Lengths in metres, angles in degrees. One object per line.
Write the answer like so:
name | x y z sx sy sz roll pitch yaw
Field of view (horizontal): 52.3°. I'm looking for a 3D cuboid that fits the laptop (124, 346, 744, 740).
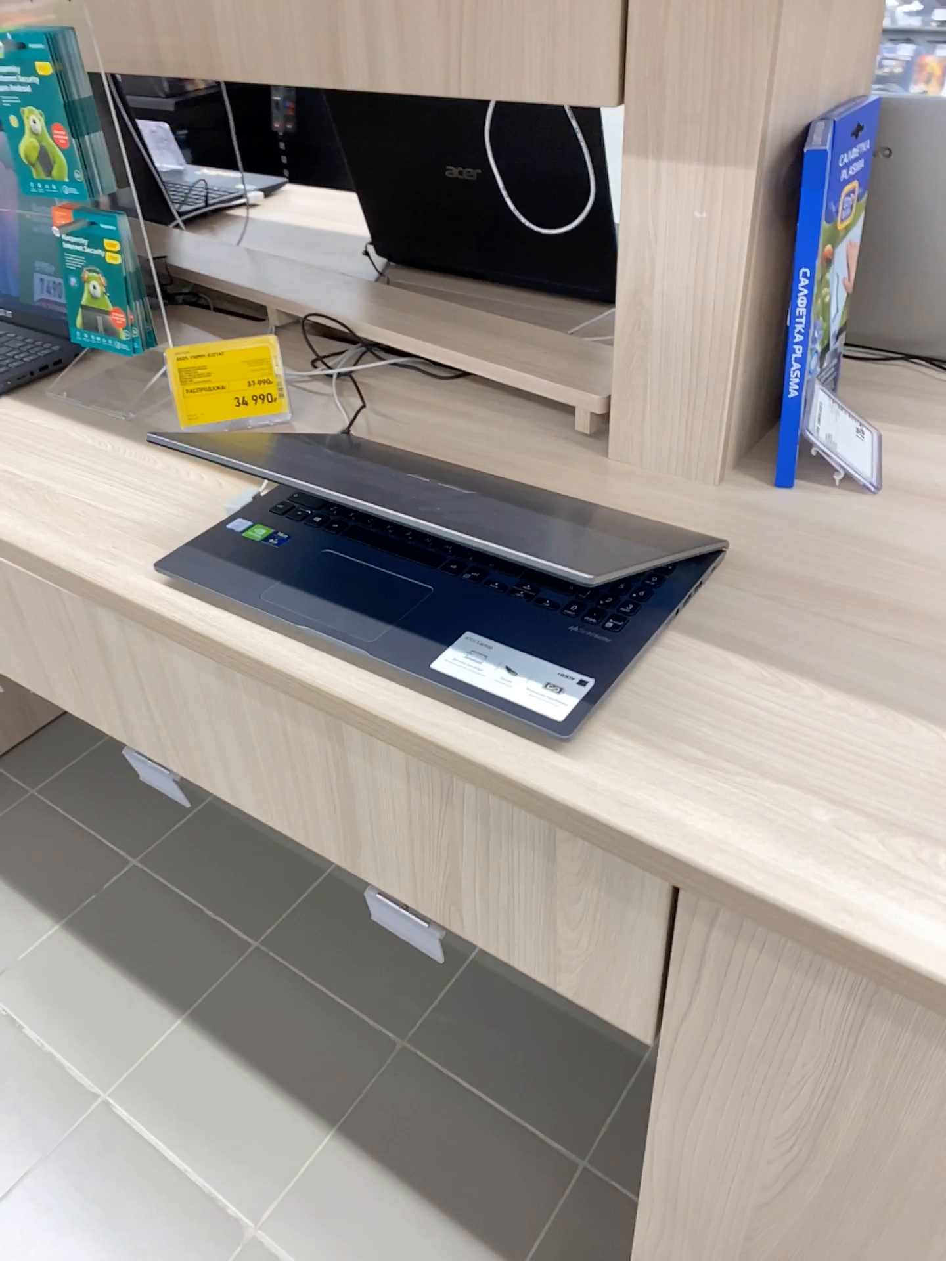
laptop | -0.026 -0.089 0.683 0.353 0.088 0.236 20 42 27
